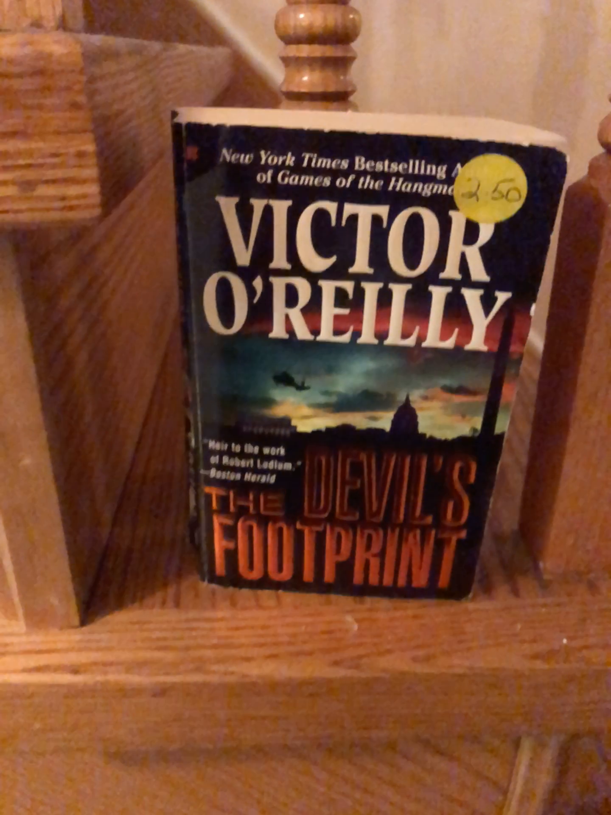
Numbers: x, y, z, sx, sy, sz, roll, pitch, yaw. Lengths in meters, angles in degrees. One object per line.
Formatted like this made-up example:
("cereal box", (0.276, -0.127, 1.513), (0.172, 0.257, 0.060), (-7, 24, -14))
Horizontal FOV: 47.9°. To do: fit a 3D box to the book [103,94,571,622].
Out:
("book", (0.009, -0.013, 0.238), (0.120, 0.169, 0.050), (4, 30, 8))
